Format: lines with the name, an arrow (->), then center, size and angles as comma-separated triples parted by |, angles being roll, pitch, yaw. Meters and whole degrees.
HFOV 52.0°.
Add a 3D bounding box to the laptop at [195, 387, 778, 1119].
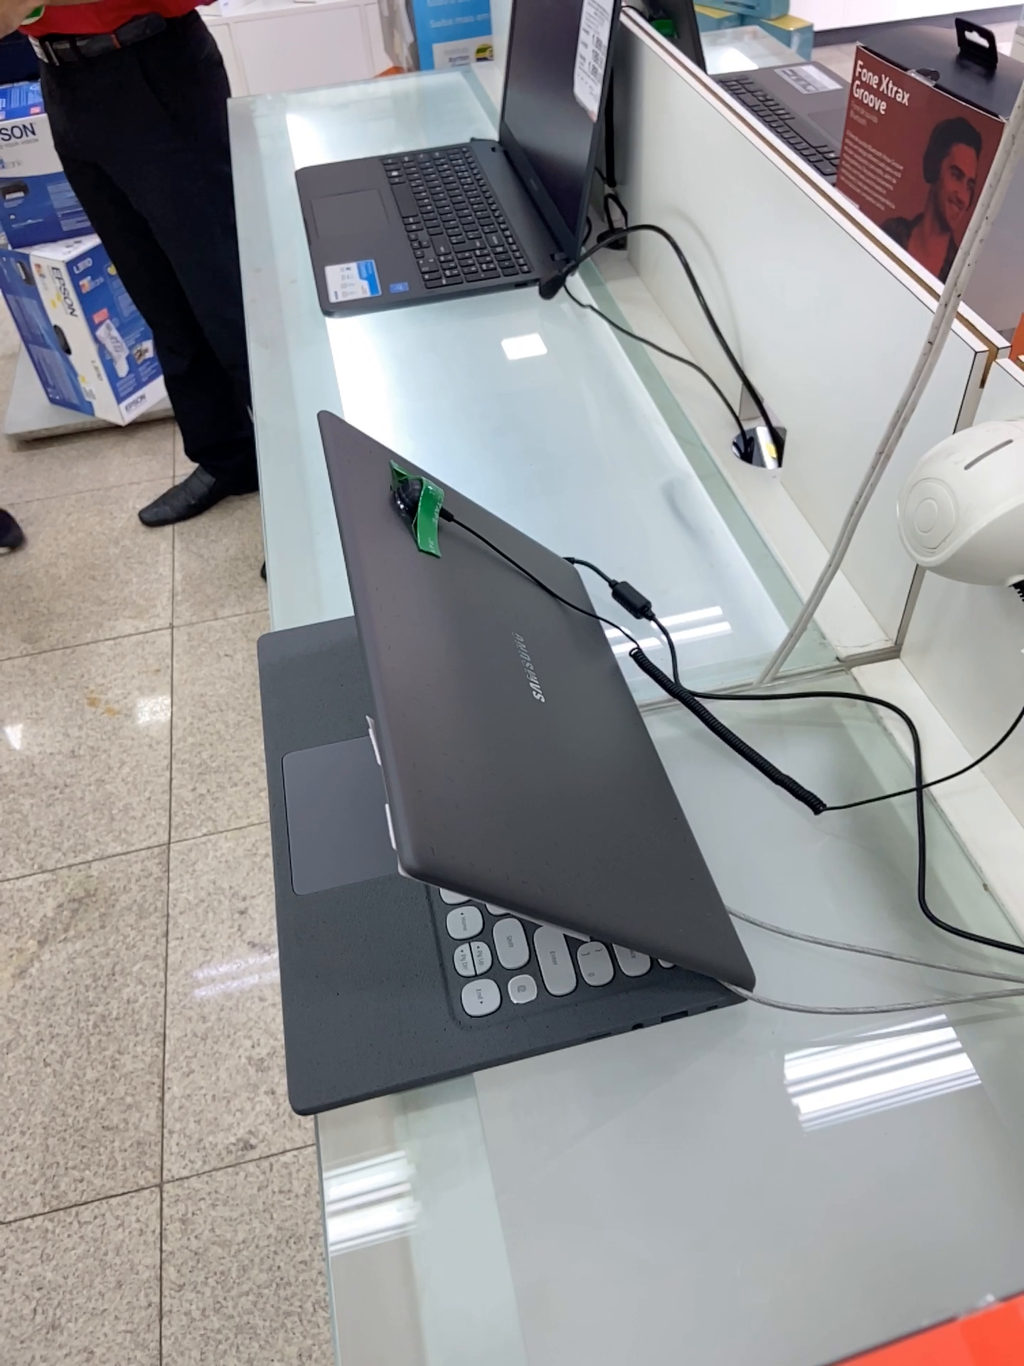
laptop -> -0.033, 0.013, 0.534 | 0.207, 0.153, 0.313 | -12, 45, -6
